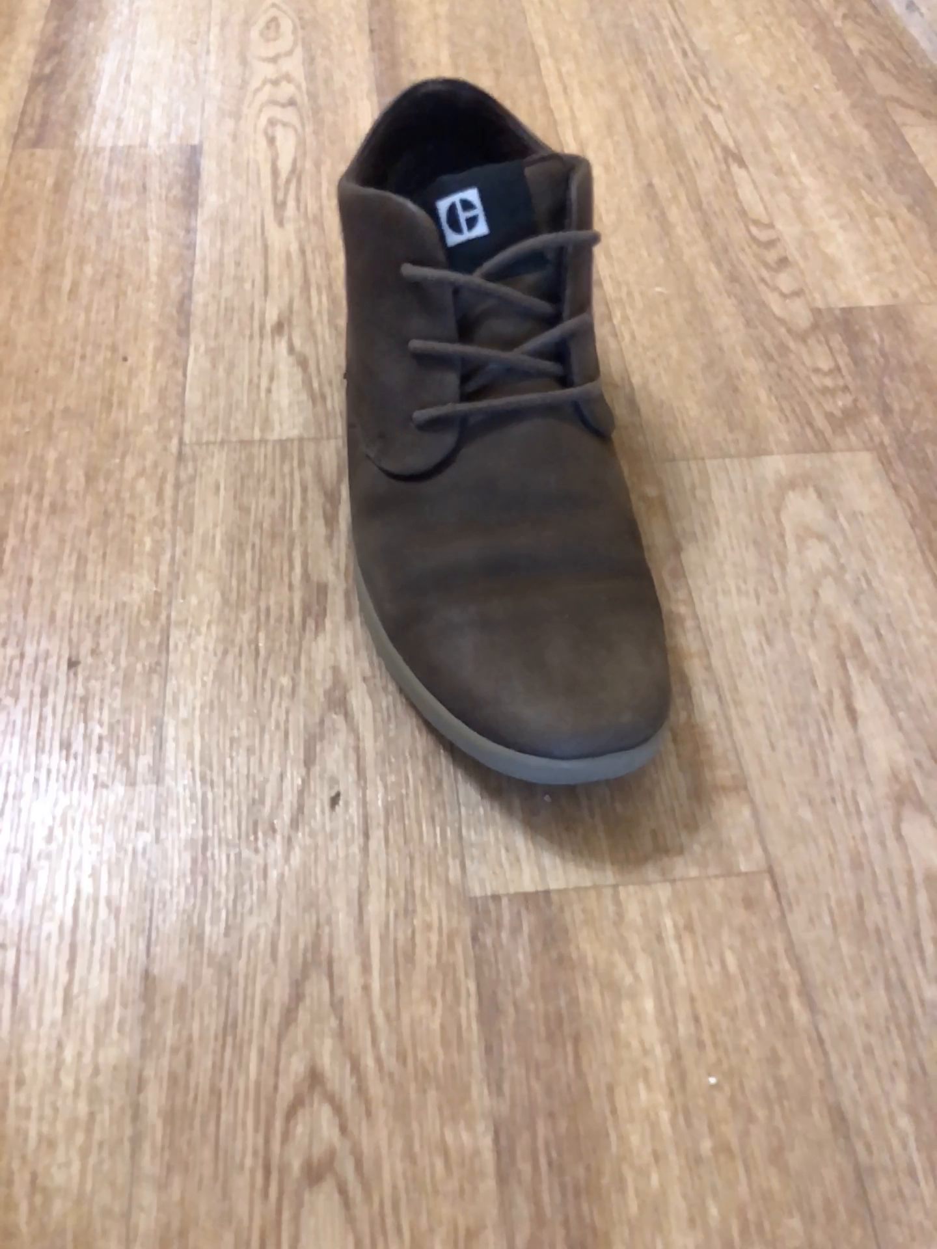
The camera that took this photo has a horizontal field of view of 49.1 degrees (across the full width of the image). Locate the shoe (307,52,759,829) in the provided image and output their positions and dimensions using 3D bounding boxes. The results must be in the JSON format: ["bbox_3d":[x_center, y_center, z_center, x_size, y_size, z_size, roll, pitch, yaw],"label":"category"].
[{"bbox_3d":[0.002,-0.080,0.357,0.100,0.100,0.271,-4,55,-5],"label":"shoe"}]
